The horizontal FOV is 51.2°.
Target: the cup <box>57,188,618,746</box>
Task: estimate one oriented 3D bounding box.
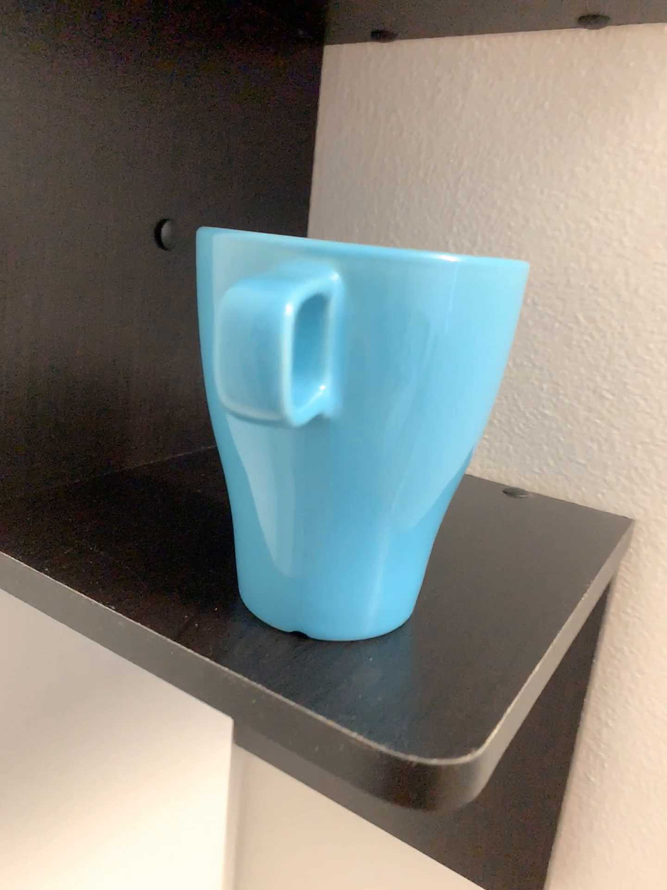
[{"bbox_3d":[0.001,-0.007,0.175,0.090,0.090,0.111,7,15,5],"label":"cup"}]
